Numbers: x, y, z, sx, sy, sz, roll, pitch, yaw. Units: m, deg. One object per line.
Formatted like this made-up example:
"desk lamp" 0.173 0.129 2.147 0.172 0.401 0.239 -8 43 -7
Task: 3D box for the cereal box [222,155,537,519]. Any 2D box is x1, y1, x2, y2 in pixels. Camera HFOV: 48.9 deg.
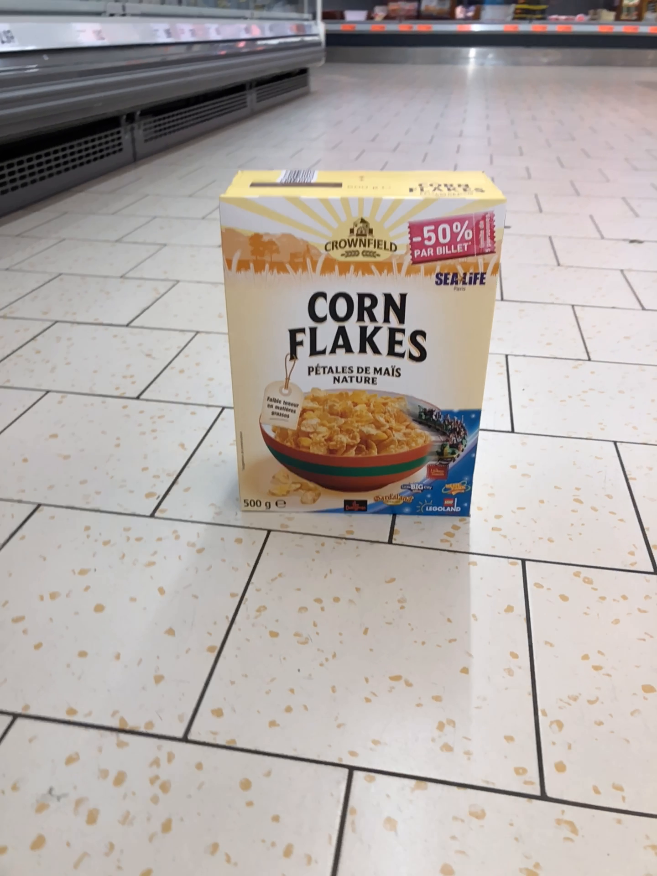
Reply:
"cereal box" 0.033 -0.075 0.564 0.200 0.258 0.101 1 29 2
